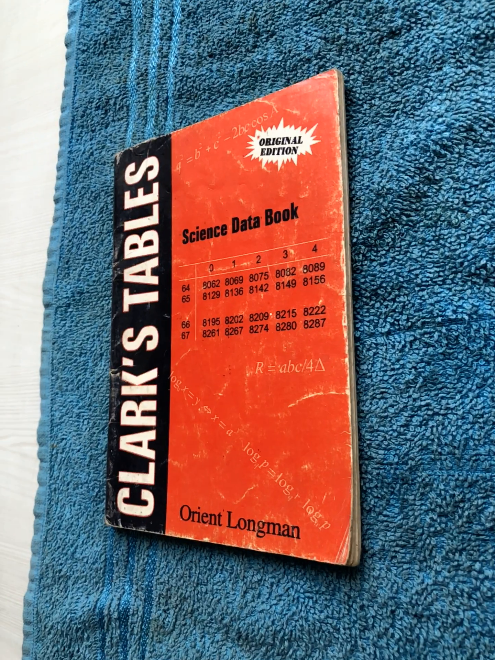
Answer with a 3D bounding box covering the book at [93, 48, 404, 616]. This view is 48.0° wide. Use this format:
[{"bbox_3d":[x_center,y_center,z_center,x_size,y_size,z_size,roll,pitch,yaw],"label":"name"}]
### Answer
[{"bbox_3d":[-0.006,0.001,0.220,0.120,0.030,0.180,-6,81,34],"label":"book"}]
